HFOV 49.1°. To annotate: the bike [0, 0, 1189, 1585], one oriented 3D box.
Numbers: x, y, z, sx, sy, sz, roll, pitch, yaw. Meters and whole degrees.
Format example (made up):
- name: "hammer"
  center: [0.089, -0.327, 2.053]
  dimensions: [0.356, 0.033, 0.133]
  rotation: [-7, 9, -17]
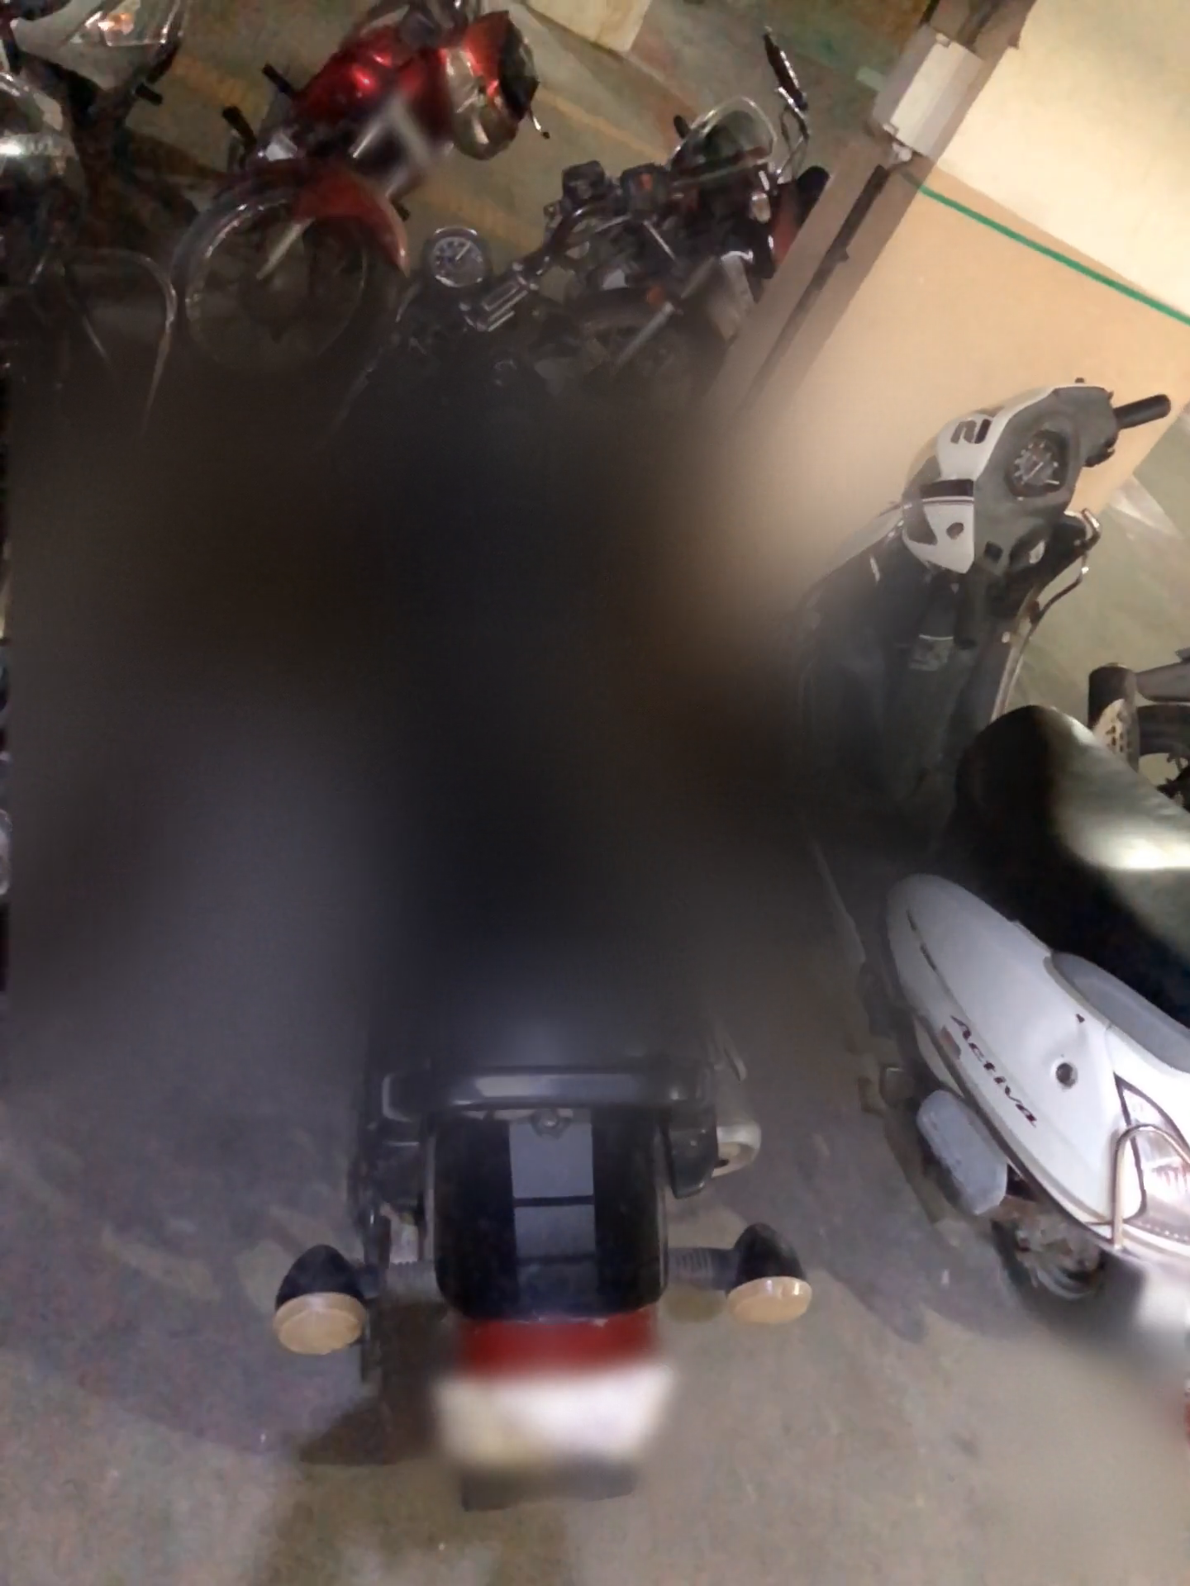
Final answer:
- name: "bike"
  center: [-0.230, -0.216, 1.592]
  dimensions: [0.864, 1.251, 1.675]
  rotation: [13, 40, -26]
